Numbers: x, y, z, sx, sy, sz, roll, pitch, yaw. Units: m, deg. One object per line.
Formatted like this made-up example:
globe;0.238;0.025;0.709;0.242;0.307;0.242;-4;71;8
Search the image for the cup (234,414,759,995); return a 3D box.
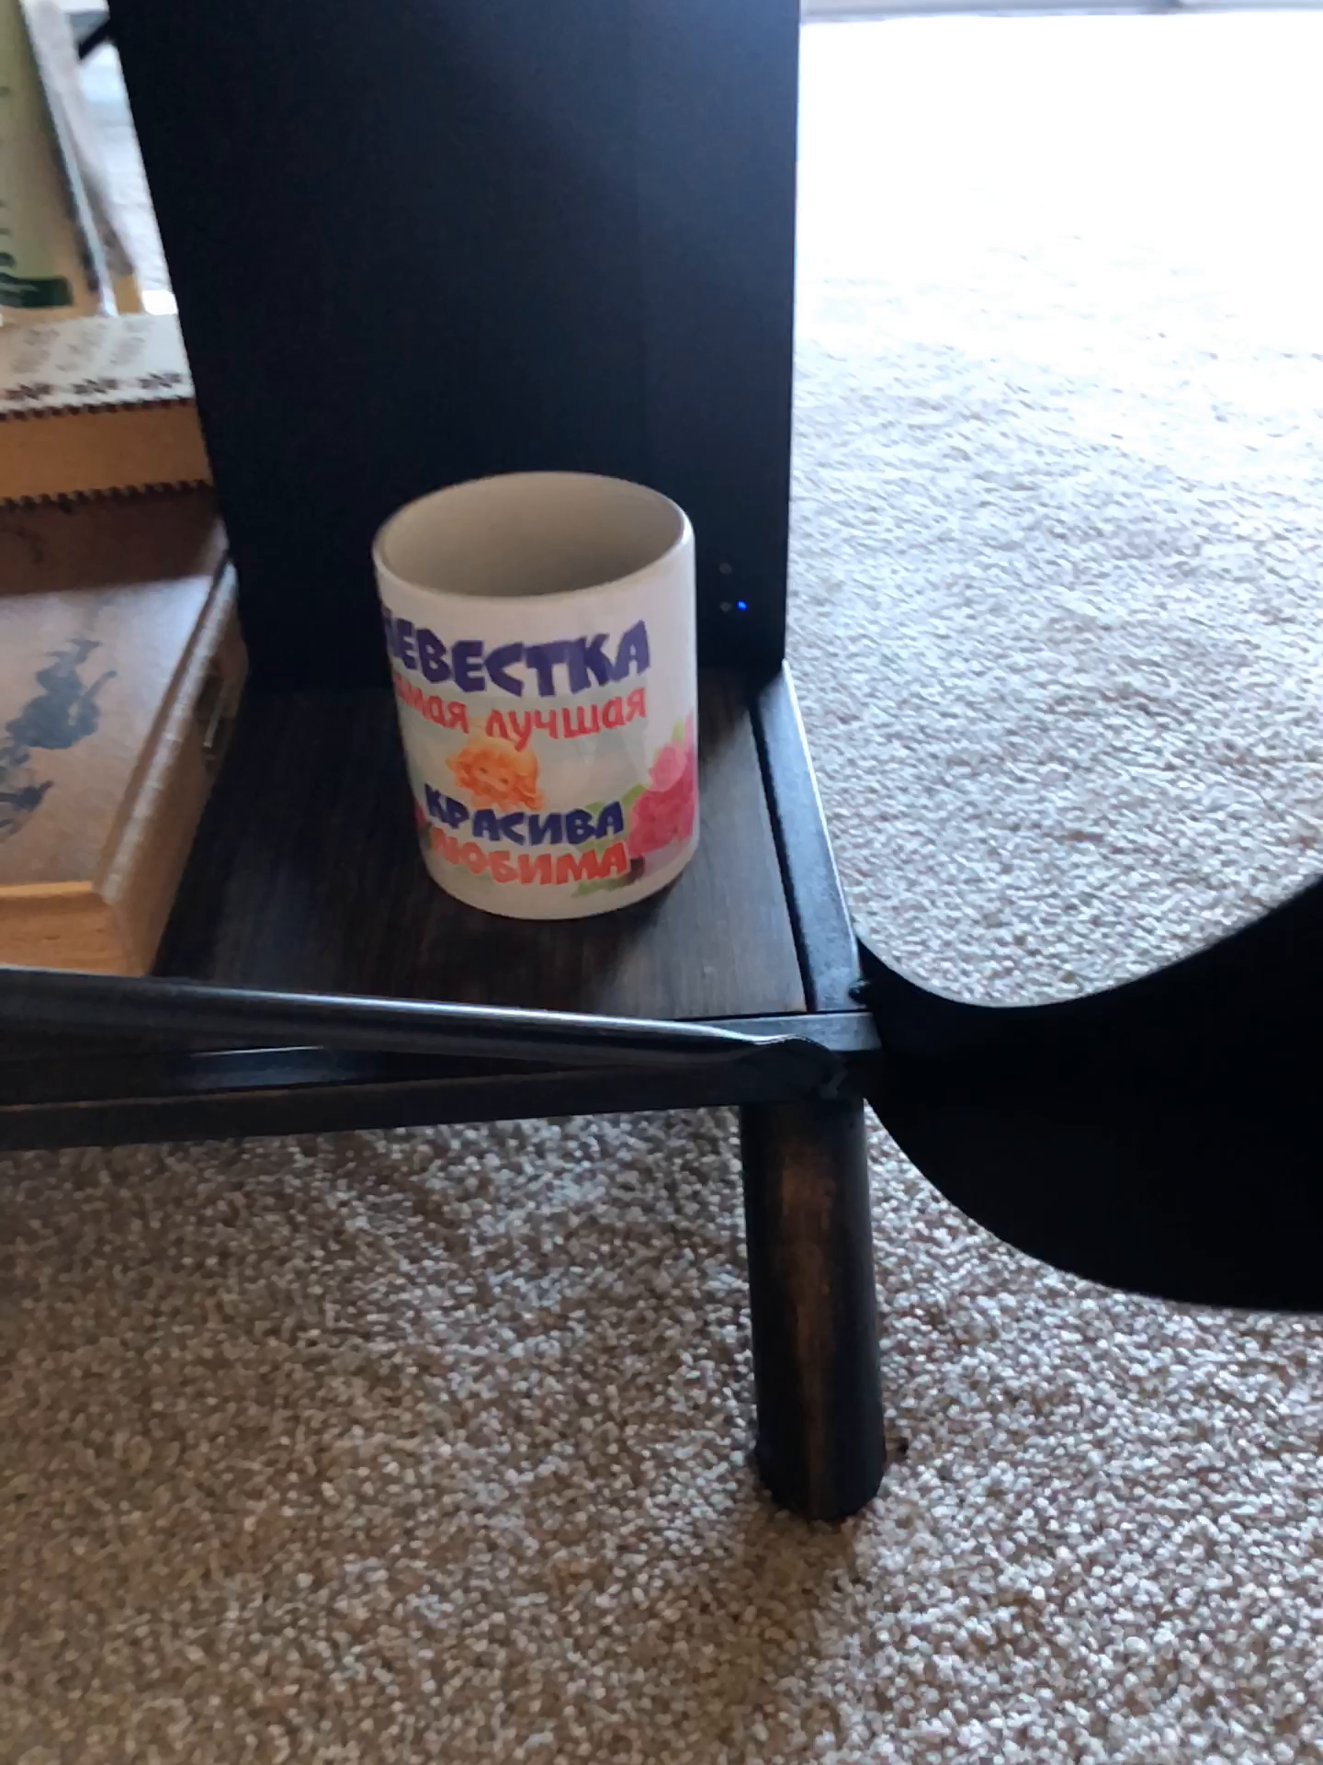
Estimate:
cup;-0.035;-0.058;0.422;0.090;0.099;0.141;10;38;16
